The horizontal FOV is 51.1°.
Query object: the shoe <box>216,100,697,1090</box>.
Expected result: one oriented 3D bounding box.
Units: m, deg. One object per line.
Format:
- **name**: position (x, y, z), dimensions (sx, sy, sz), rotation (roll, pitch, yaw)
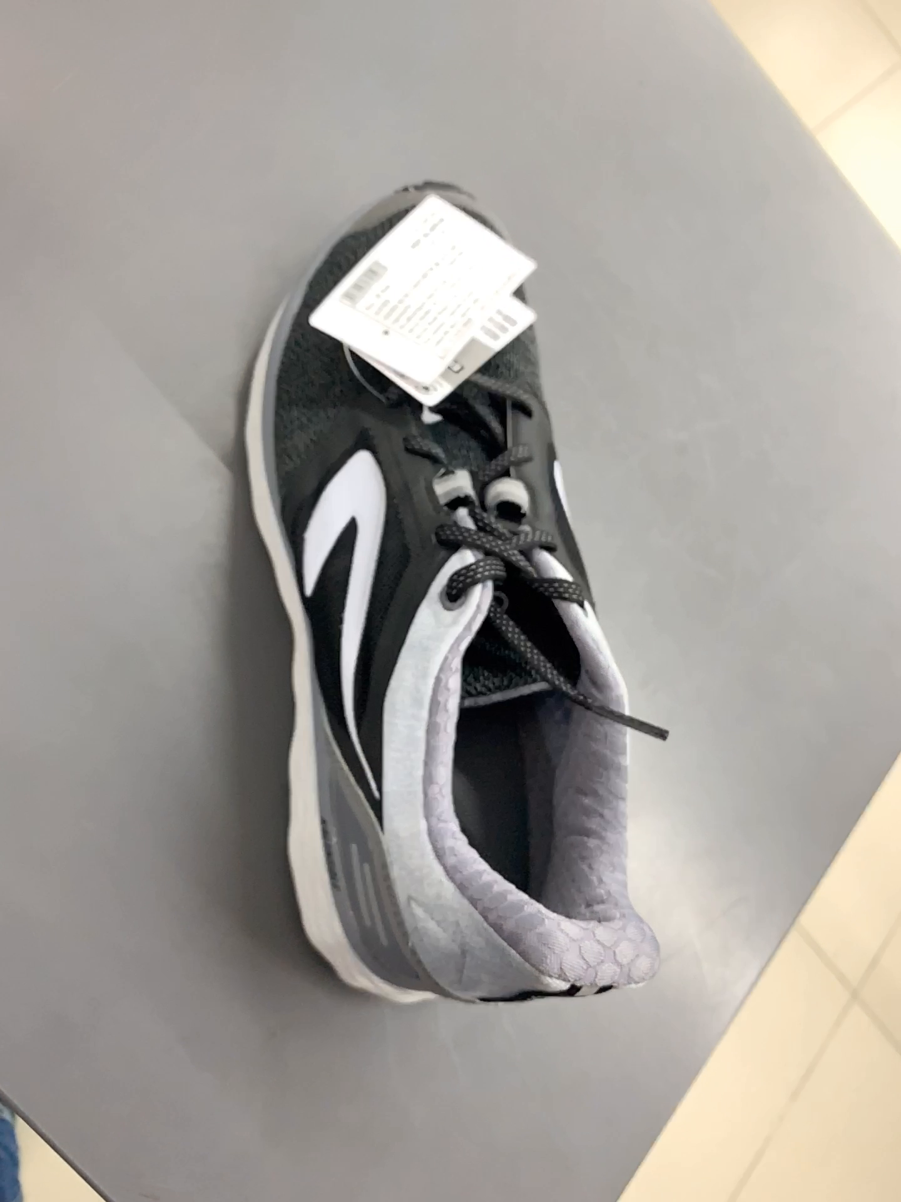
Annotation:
- **shoe**: position (-0.010, -0.004, 0.283), dimensions (0.100, 0.090, 0.240), rotation (1, 77, -24)
